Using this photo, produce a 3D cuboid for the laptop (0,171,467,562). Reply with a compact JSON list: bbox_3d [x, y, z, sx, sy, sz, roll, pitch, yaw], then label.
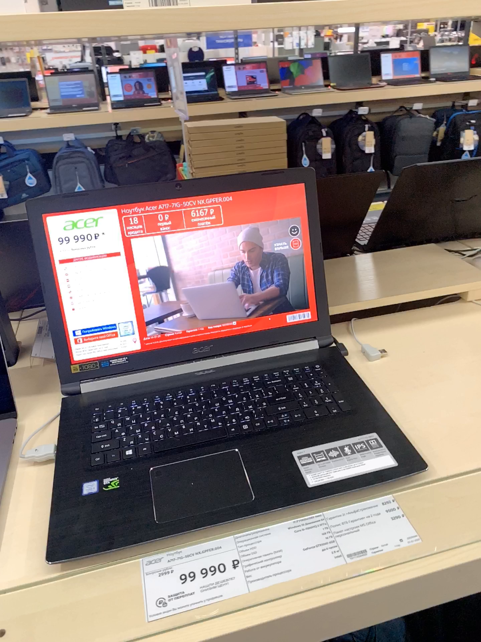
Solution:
[{"bbox_3d":[-0.038,0.003,0.604,0.406,0.248,0.364,-10,31,-12],"label":"laptop"}]
